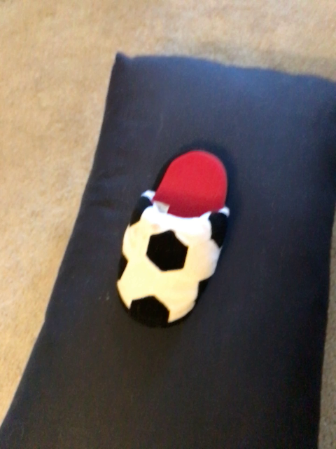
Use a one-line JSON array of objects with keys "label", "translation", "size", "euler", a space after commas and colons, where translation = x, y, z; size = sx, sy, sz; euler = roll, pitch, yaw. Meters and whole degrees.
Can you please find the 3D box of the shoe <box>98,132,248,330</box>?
[{"label": "shoe", "translation": [0.014, 0.007, 0.461], "size": [0.108, 0.072, 0.213], "euler": [17, 74, 13]}]
